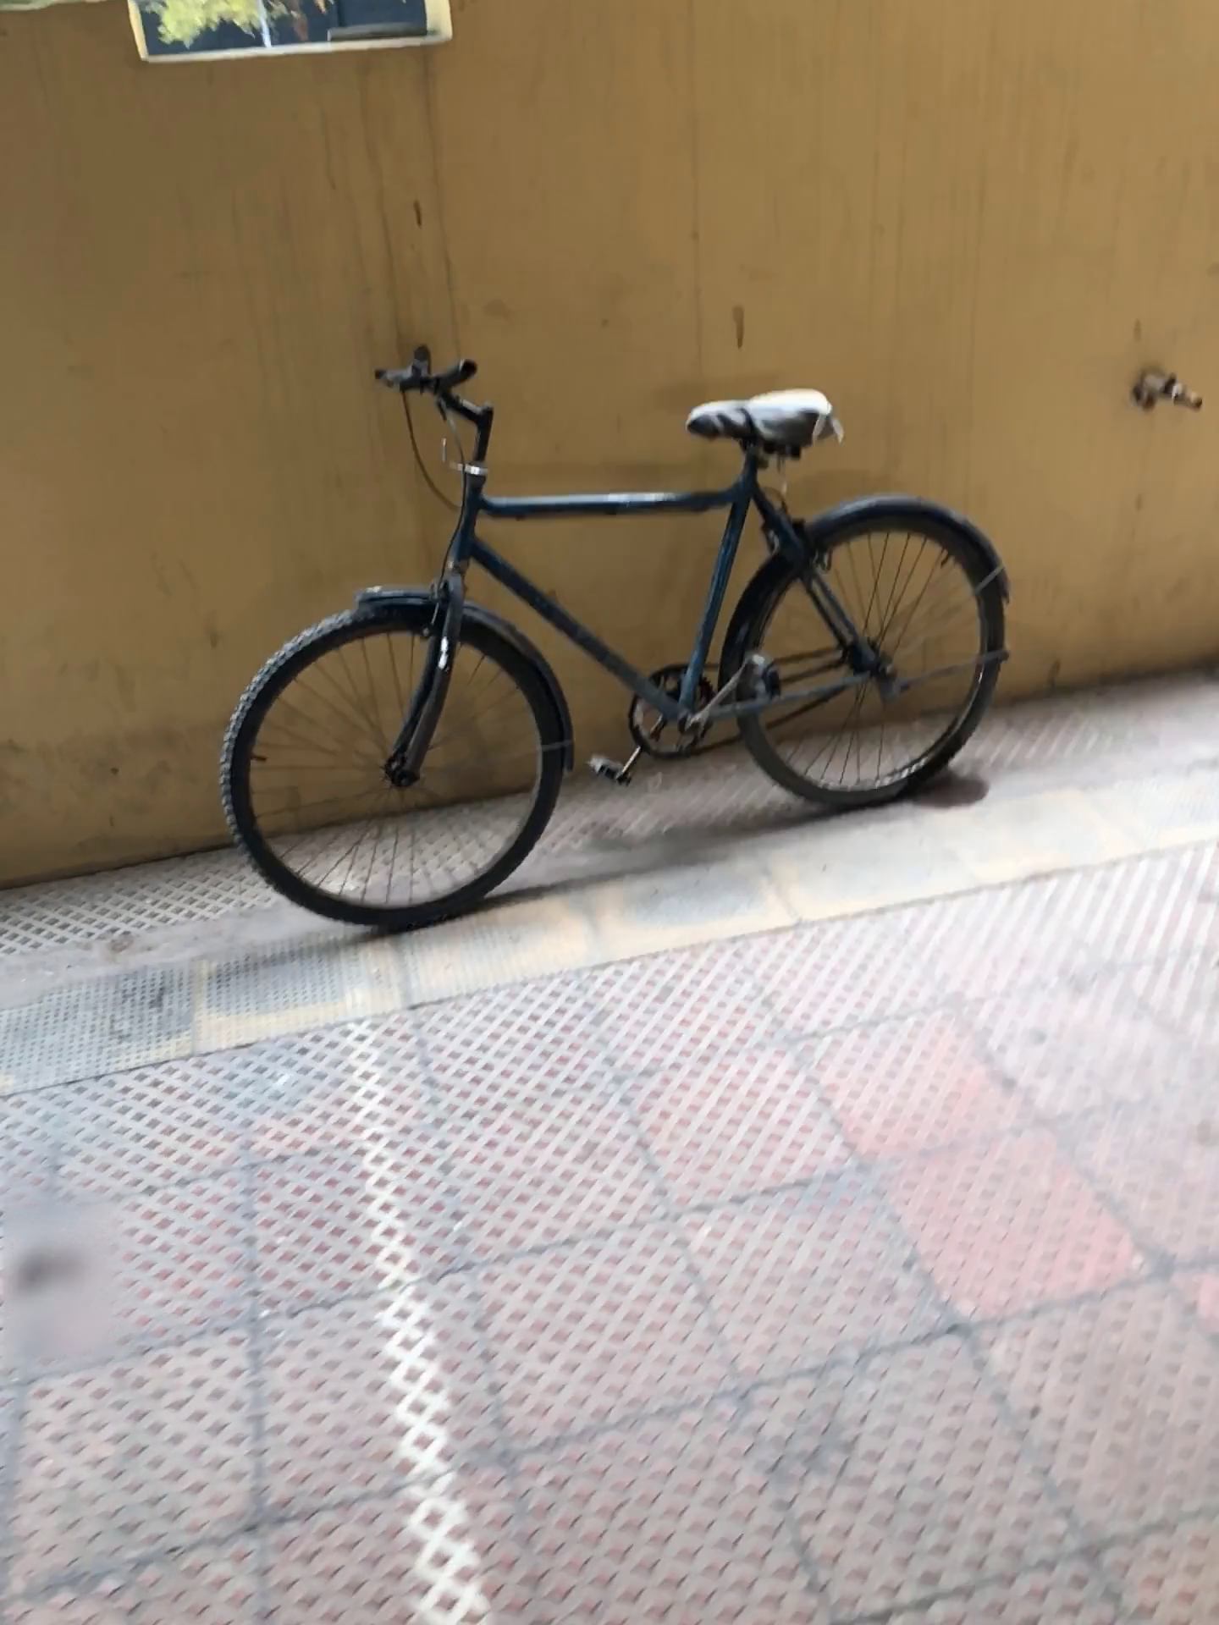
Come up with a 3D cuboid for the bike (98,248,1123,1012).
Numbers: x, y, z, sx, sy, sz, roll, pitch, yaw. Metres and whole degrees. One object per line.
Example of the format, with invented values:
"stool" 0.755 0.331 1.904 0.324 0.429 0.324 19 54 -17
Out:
"bike" 0.068 -0.387 2.354 1.546 0.998 0.544 -12 31 -17
